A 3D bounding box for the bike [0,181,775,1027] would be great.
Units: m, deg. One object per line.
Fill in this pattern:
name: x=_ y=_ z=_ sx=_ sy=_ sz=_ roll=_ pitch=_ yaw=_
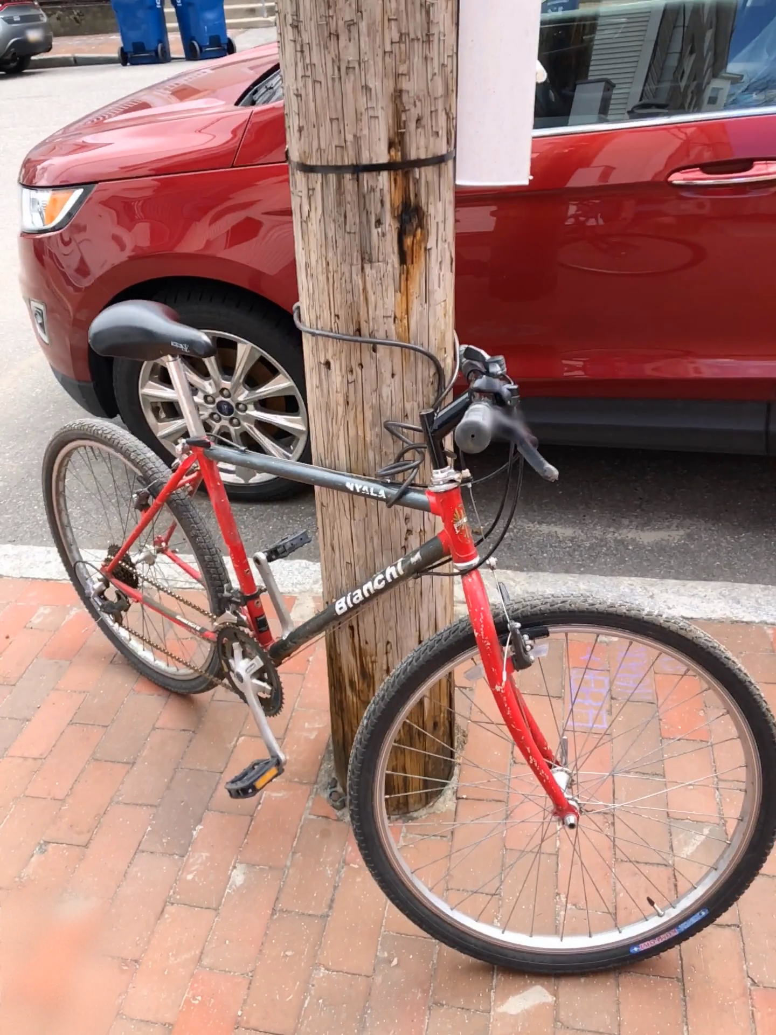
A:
bike: x=-0.145 y=0.002 z=1.461 sx=1.528 sy=0.983 sz=0.583 roll=15 pitch=37 yaw=30
